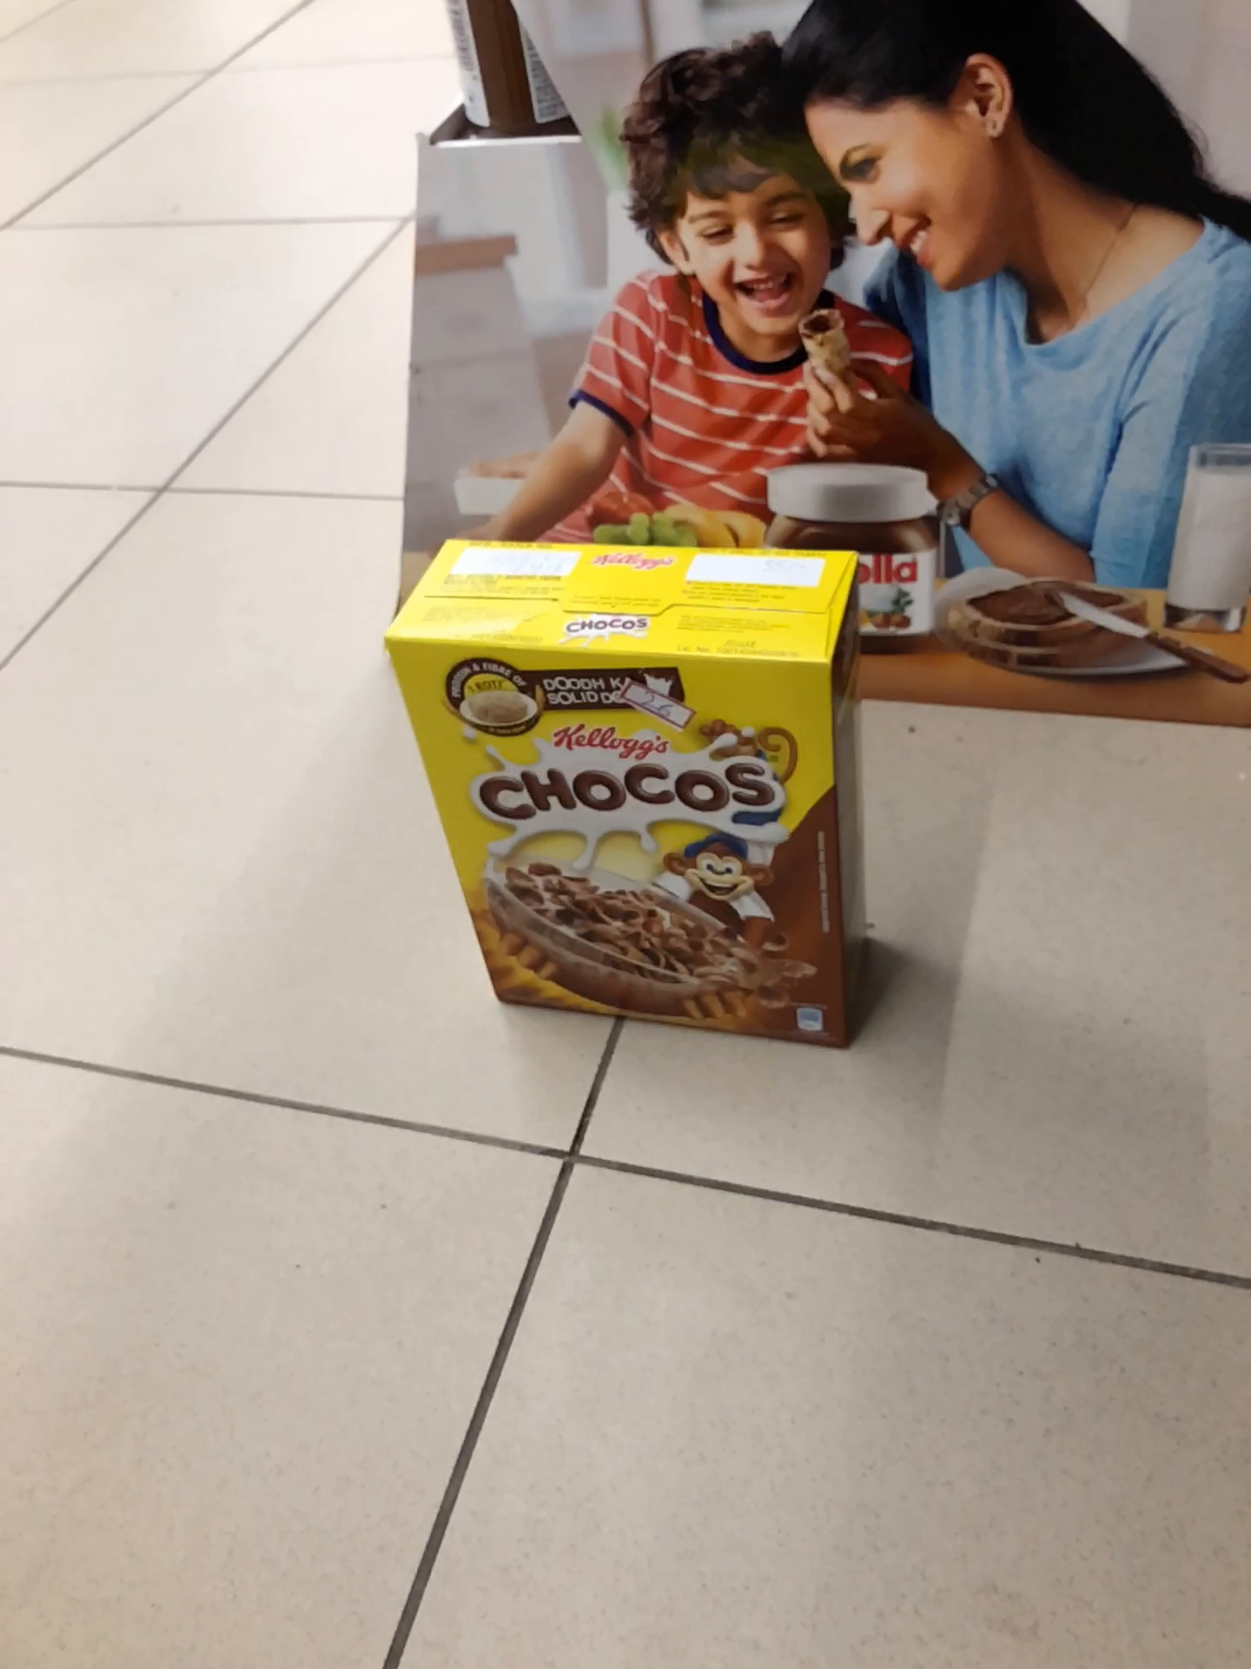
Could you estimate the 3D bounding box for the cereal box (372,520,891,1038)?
[{"bbox_3d":[0.012,-0.014,0.452,0.140,0.169,0.050,6,47,16],"label":"cereal box"}]
